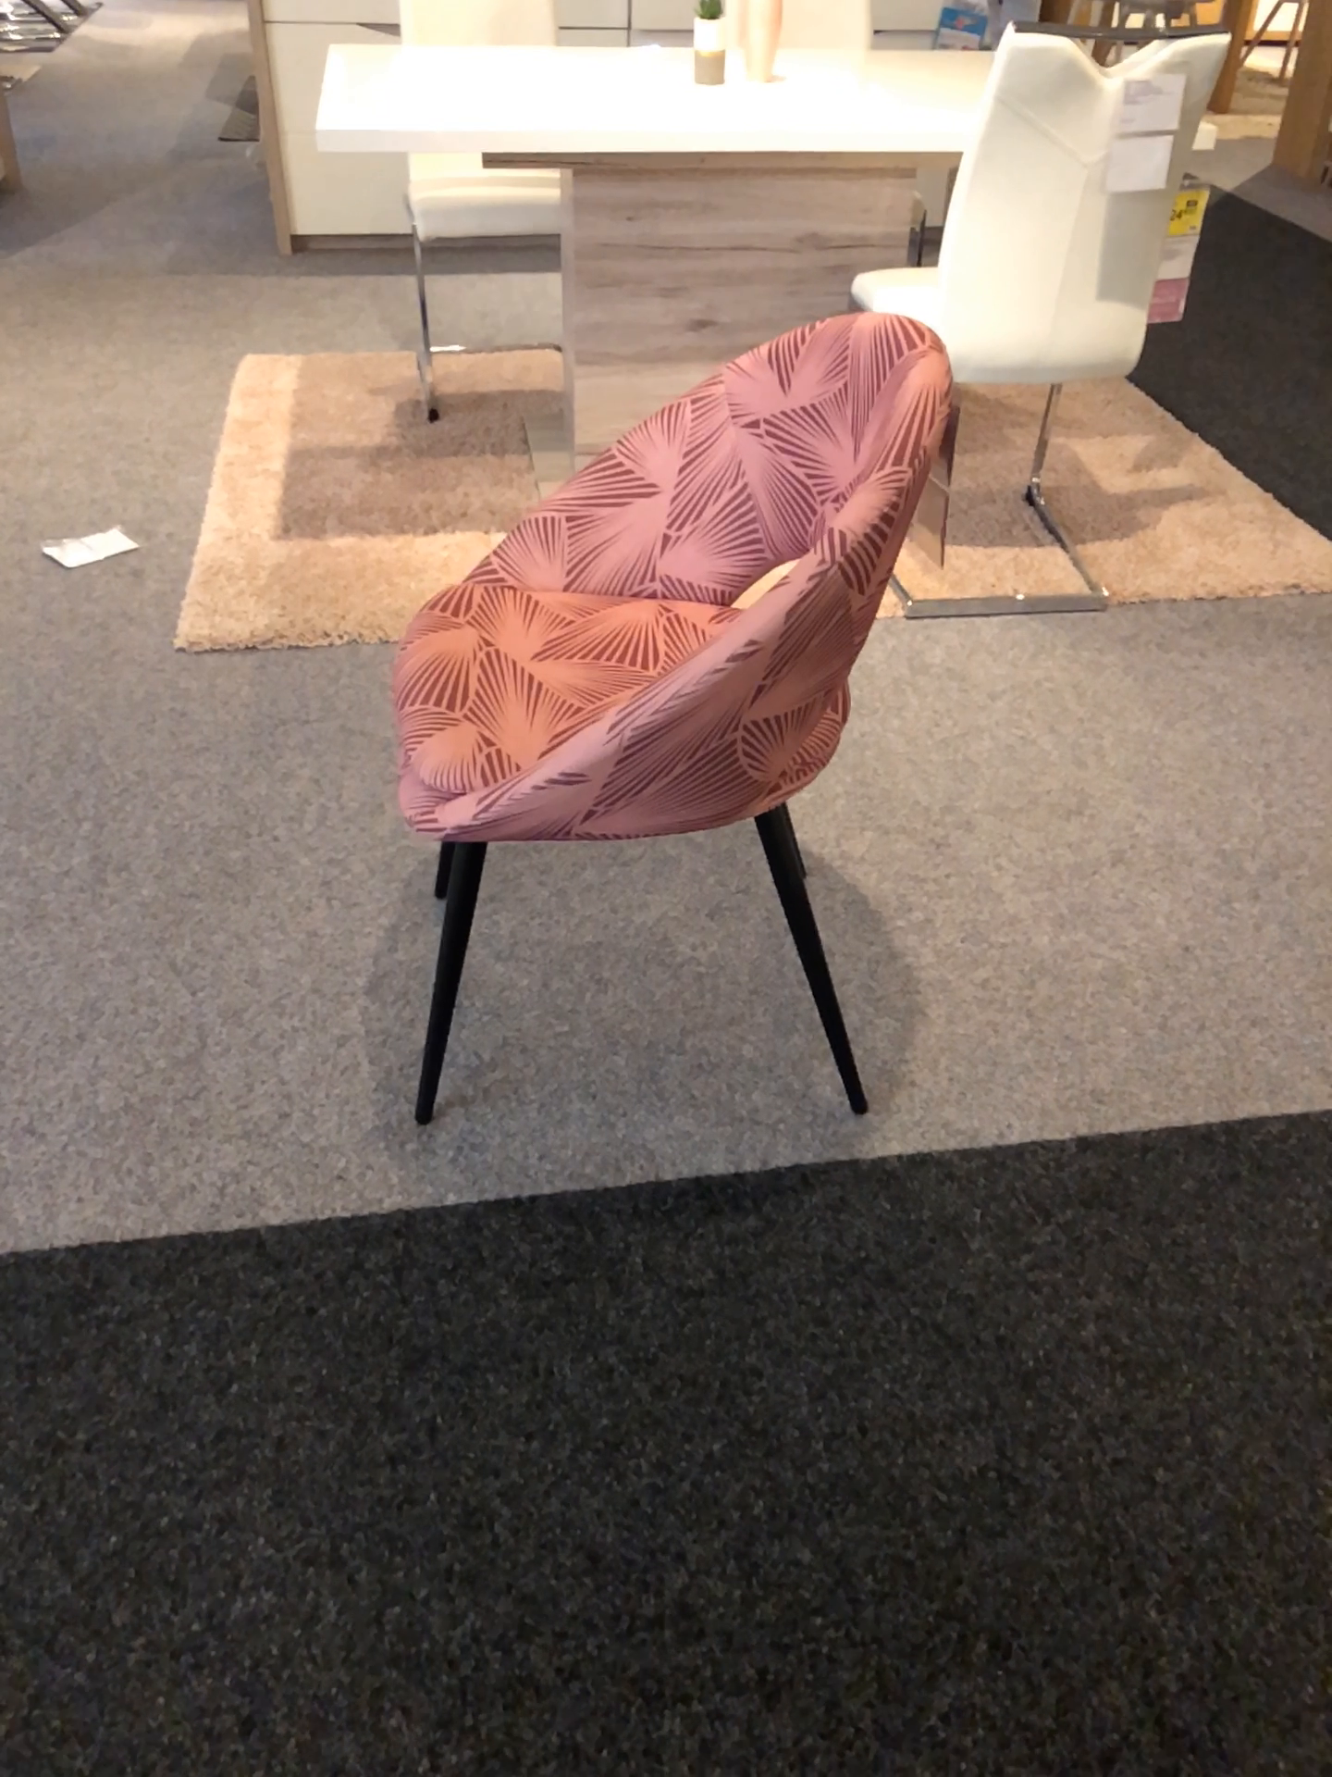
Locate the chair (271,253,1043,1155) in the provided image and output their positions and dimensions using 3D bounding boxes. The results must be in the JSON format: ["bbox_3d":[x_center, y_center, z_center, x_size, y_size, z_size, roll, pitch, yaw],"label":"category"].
[{"bbox_3d":[-0.029,-0.197,1.578,0.600,0.795,0.533,-1,36,-4],"label":"chair"}]
